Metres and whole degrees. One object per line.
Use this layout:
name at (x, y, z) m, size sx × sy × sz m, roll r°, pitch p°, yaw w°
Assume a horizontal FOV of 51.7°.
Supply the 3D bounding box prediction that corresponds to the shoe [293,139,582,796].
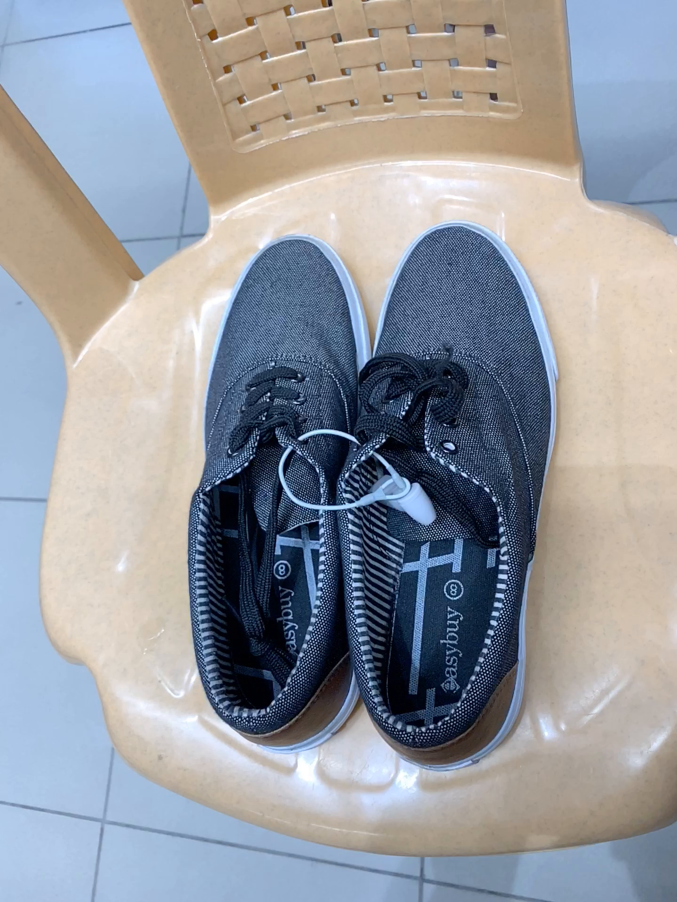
shoe at (0.052, 0.007, 0.347) m, size 0.110 × 0.110 × 0.270 m, roll -3°, pitch 77°, yaw 16°

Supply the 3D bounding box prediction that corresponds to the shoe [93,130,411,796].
shoe at (-0.034, 0.007, 0.330) m, size 0.100 × 0.110 × 0.260 m, roll -7°, pitch 76°, yaw 15°
